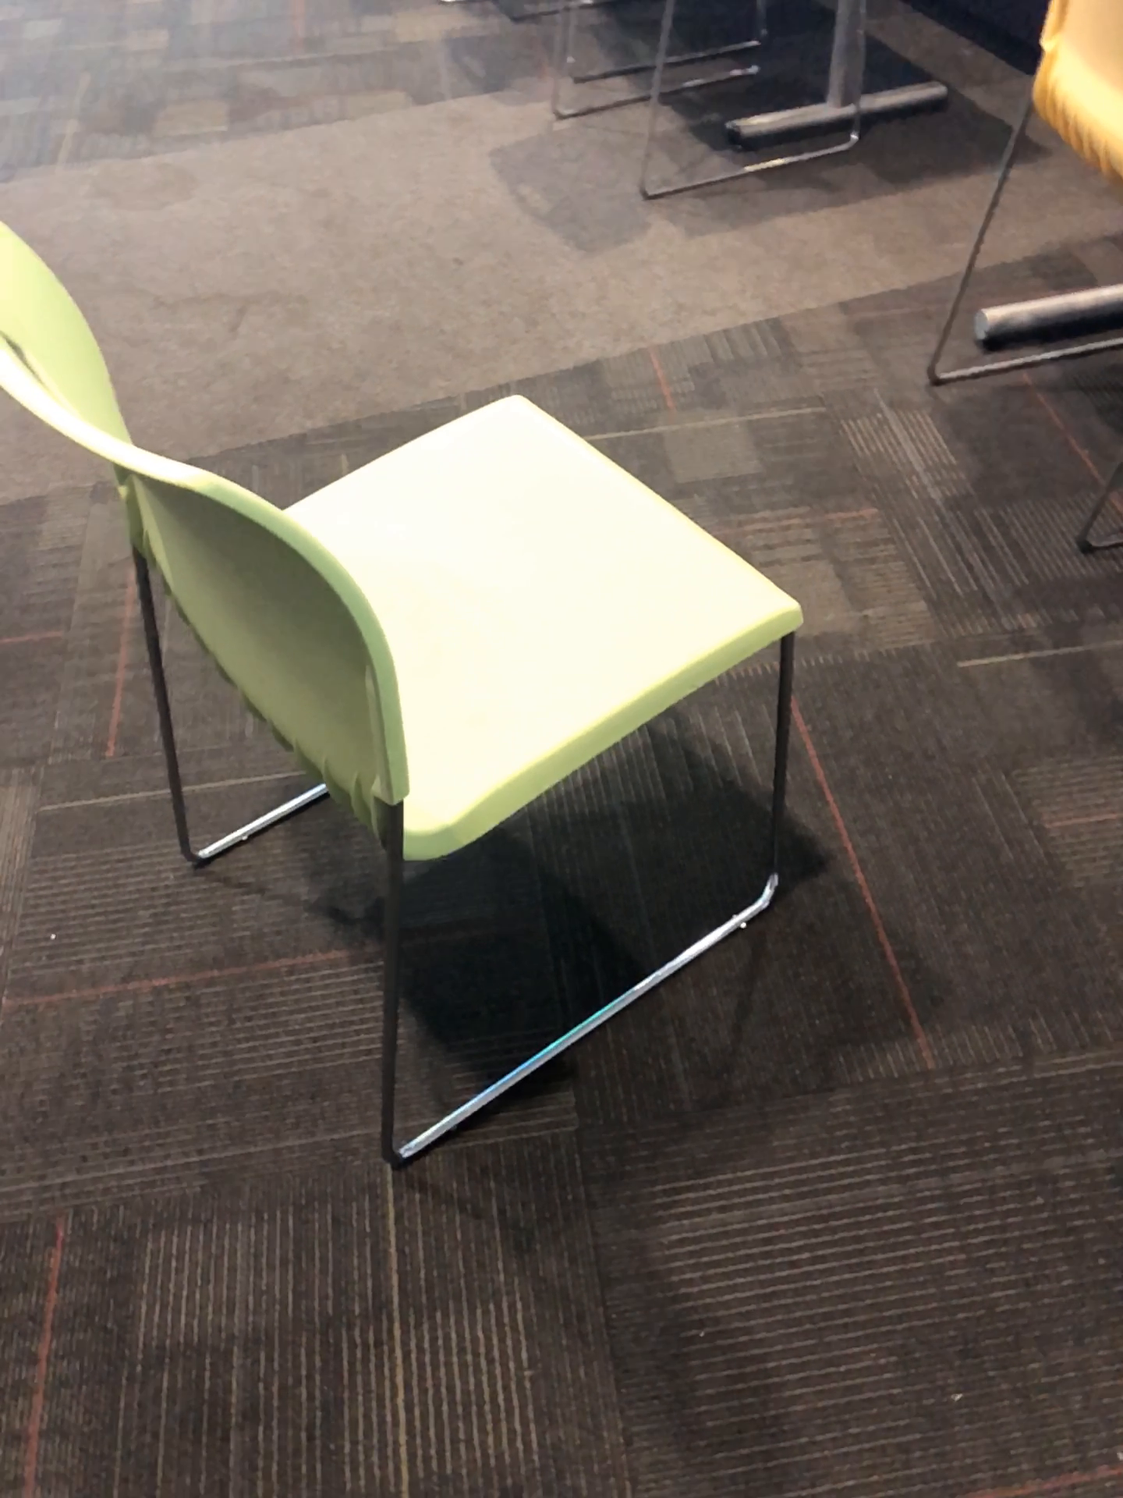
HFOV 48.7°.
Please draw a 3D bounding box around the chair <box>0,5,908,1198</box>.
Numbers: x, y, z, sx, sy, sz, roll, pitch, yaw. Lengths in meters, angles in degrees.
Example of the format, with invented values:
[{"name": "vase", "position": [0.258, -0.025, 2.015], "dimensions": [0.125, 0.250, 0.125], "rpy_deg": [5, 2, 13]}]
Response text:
[{"name": "chair", "position": [-0.140, -0.119, 1.123], "dimensions": [0.540, 0.757, 0.542], "rpy_deg": [-29, 53, -21]}]
